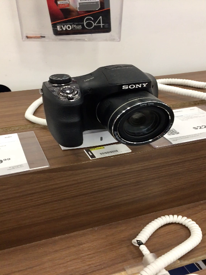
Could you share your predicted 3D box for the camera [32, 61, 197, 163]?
[{"bbox_3d":[0.007,-0.038,0.326,0.142,0.072,0.109,-13,33,-18],"label":"camera"}]
